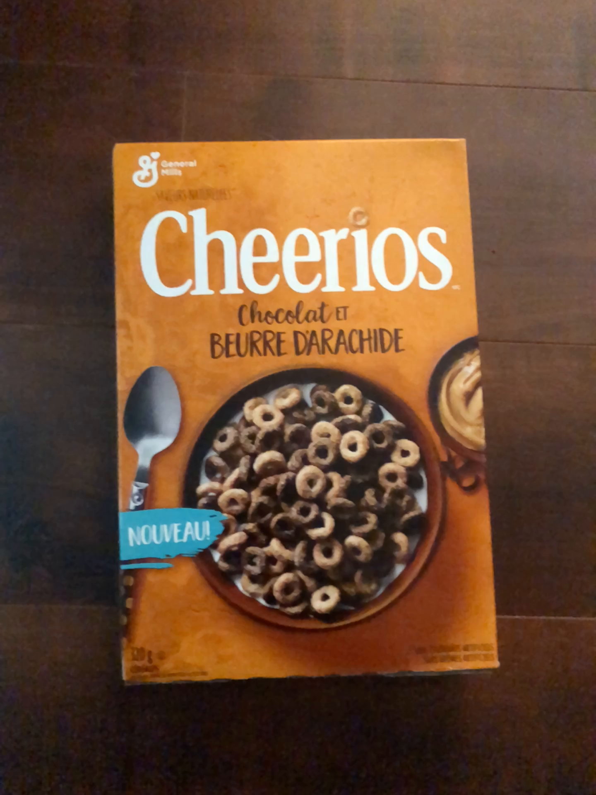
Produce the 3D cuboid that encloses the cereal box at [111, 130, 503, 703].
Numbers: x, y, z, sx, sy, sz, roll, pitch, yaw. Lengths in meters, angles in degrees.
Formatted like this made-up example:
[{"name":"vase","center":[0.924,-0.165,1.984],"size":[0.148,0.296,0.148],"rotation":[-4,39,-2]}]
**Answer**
[{"name":"cereal box","center":[0.002,0.006,0.381],"size":[0.200,0.060,0.300],"rotation":[-2,86,-2]}]
